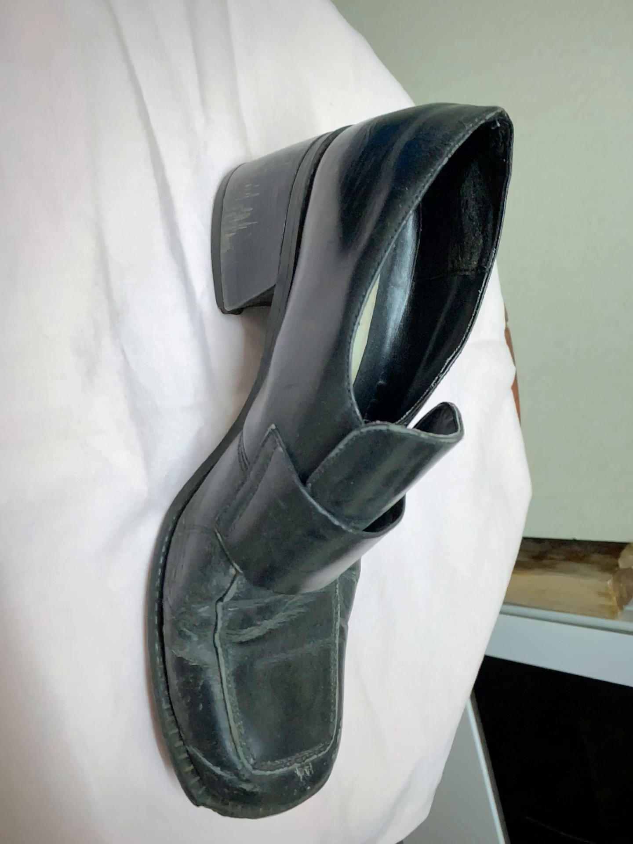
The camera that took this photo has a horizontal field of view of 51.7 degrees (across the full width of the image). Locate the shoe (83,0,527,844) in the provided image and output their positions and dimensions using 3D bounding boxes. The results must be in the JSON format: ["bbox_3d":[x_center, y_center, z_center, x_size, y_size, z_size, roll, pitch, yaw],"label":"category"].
[{"bbox_3d":[0.001,0.001,0.213,0.090,0.092,0.240,12,78,-40],"label":"shoe"}]
